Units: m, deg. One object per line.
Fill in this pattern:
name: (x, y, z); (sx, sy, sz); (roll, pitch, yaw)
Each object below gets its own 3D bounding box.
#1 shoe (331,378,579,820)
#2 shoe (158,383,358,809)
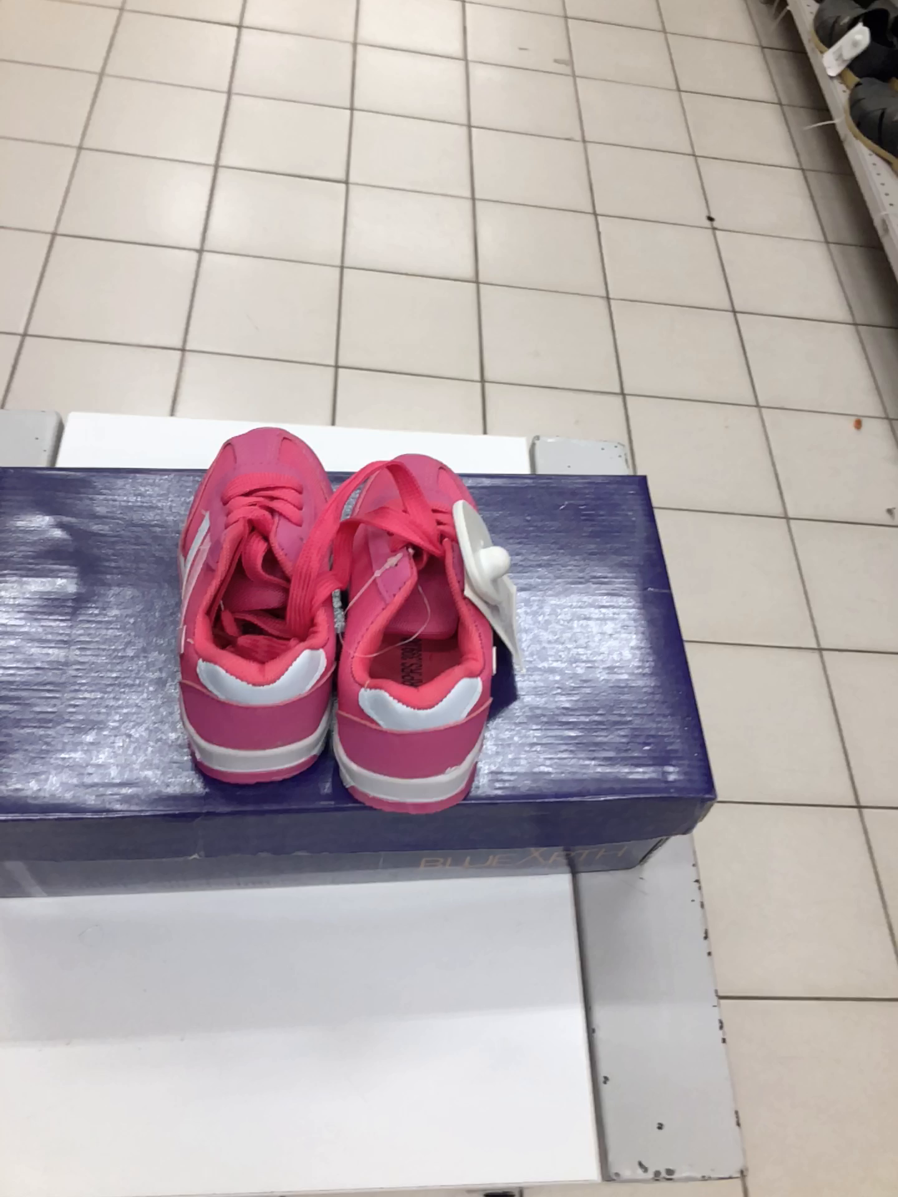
shoe: (-0.007, 0.000, 0.418); (0.080, 0.089, 0.161); (2, 57, -10)
shoe: (-0.080, -0.001, 0.433); (0.070, 0.089, 0.161); (2, 57, -10)
